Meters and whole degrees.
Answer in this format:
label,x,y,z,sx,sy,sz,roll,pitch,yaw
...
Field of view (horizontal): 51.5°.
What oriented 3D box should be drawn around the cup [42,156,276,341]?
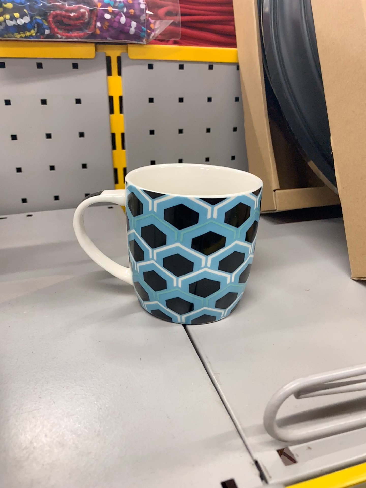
label,x,y,z,sx,sy,sz,roll,pitch,yaw
cup,-0.011,-0.003,0.253,0.120,0.090,0.090,2,24,2
